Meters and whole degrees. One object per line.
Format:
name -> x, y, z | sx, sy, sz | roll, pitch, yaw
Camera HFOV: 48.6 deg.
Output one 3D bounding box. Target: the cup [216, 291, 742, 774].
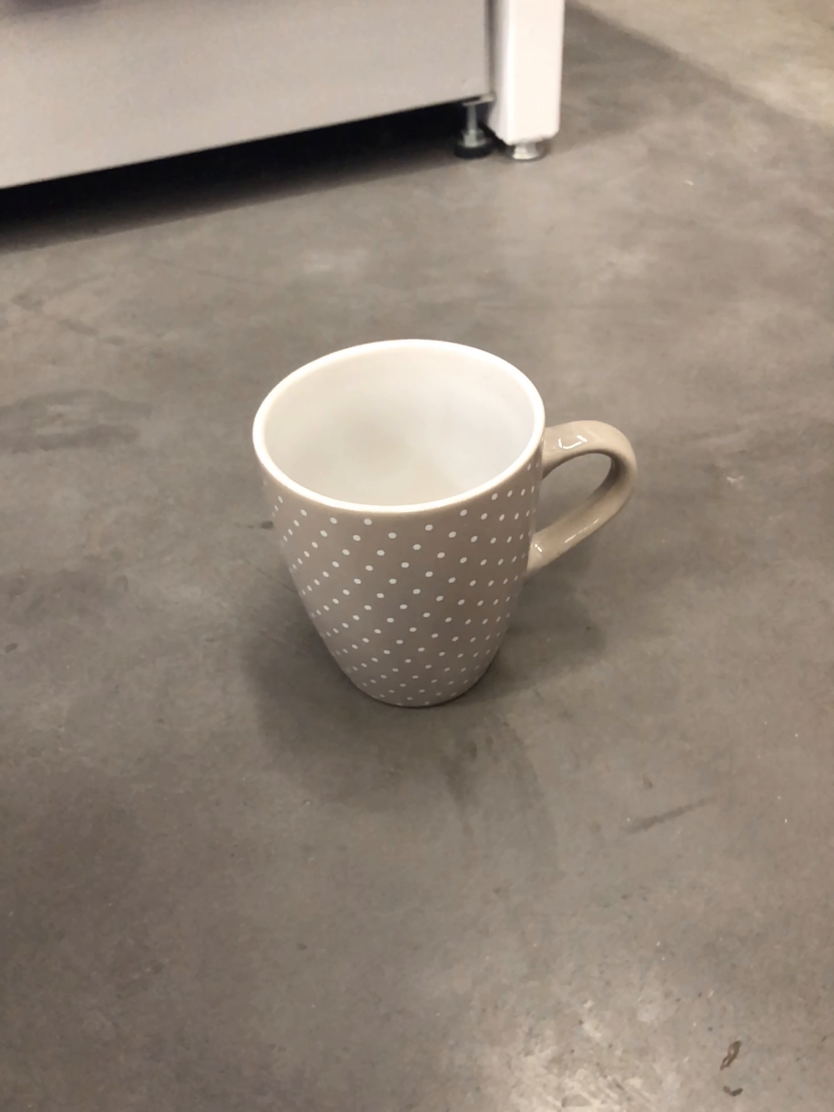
cup -> 0.016, -0.010, 0.321 | 0.141, 0.107, 0.092 | -13, 44, -8
